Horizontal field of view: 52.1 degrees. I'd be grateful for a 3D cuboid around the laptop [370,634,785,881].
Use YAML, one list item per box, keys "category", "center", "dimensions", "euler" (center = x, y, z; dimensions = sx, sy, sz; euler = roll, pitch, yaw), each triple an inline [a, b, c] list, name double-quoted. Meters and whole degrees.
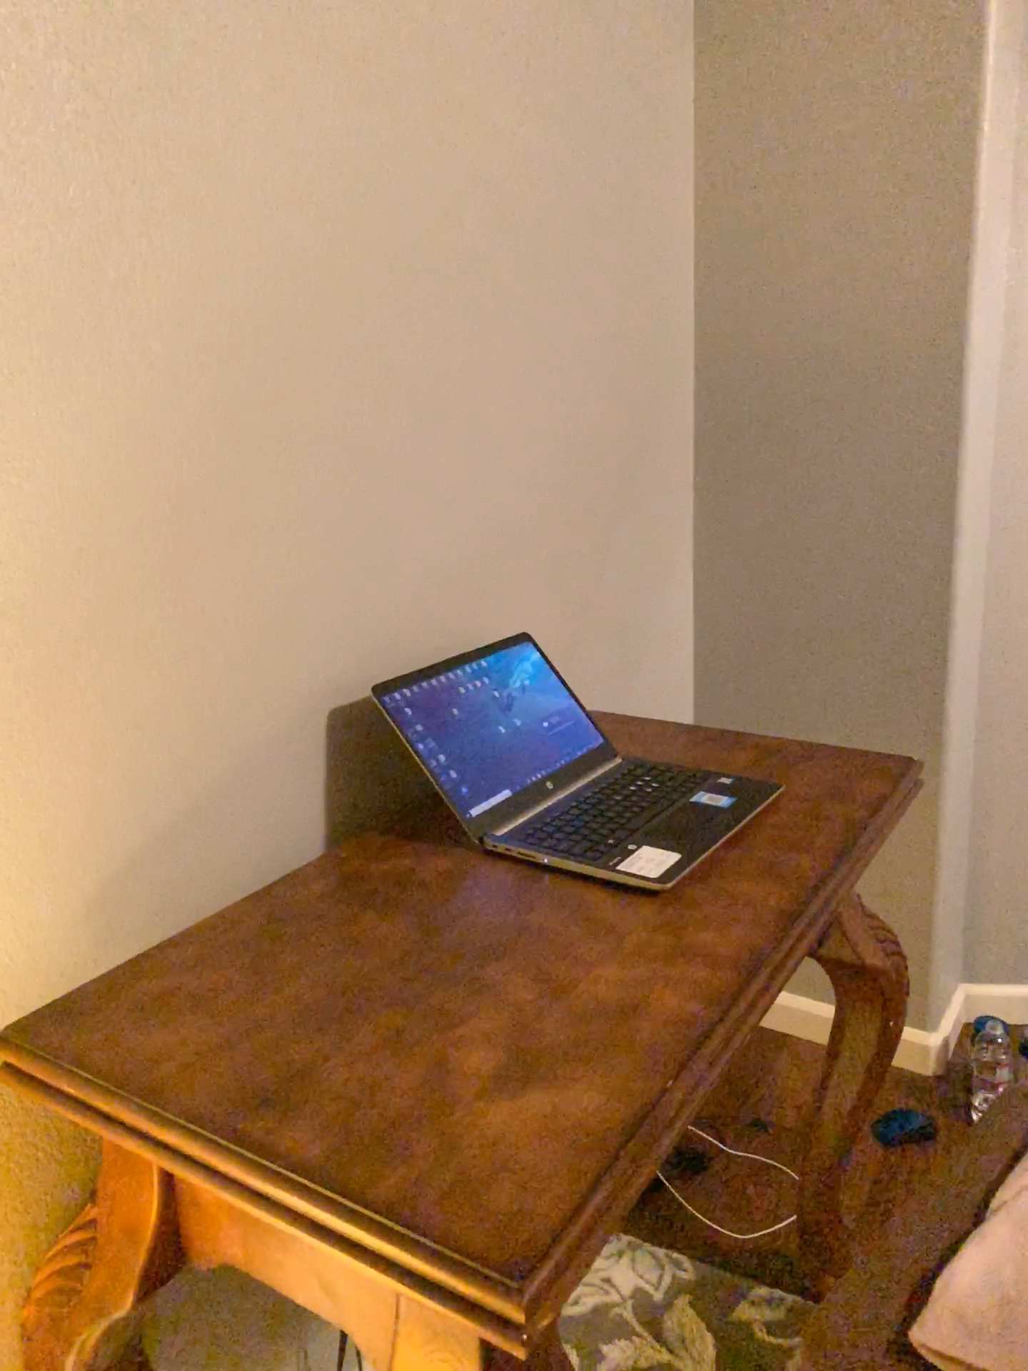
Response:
- category: "laptop"
  center: [0.081, 0.060, 1.237]
  dimensions: [0.367, 0.152, 0.318]
  euler: [8, 17, 33]
